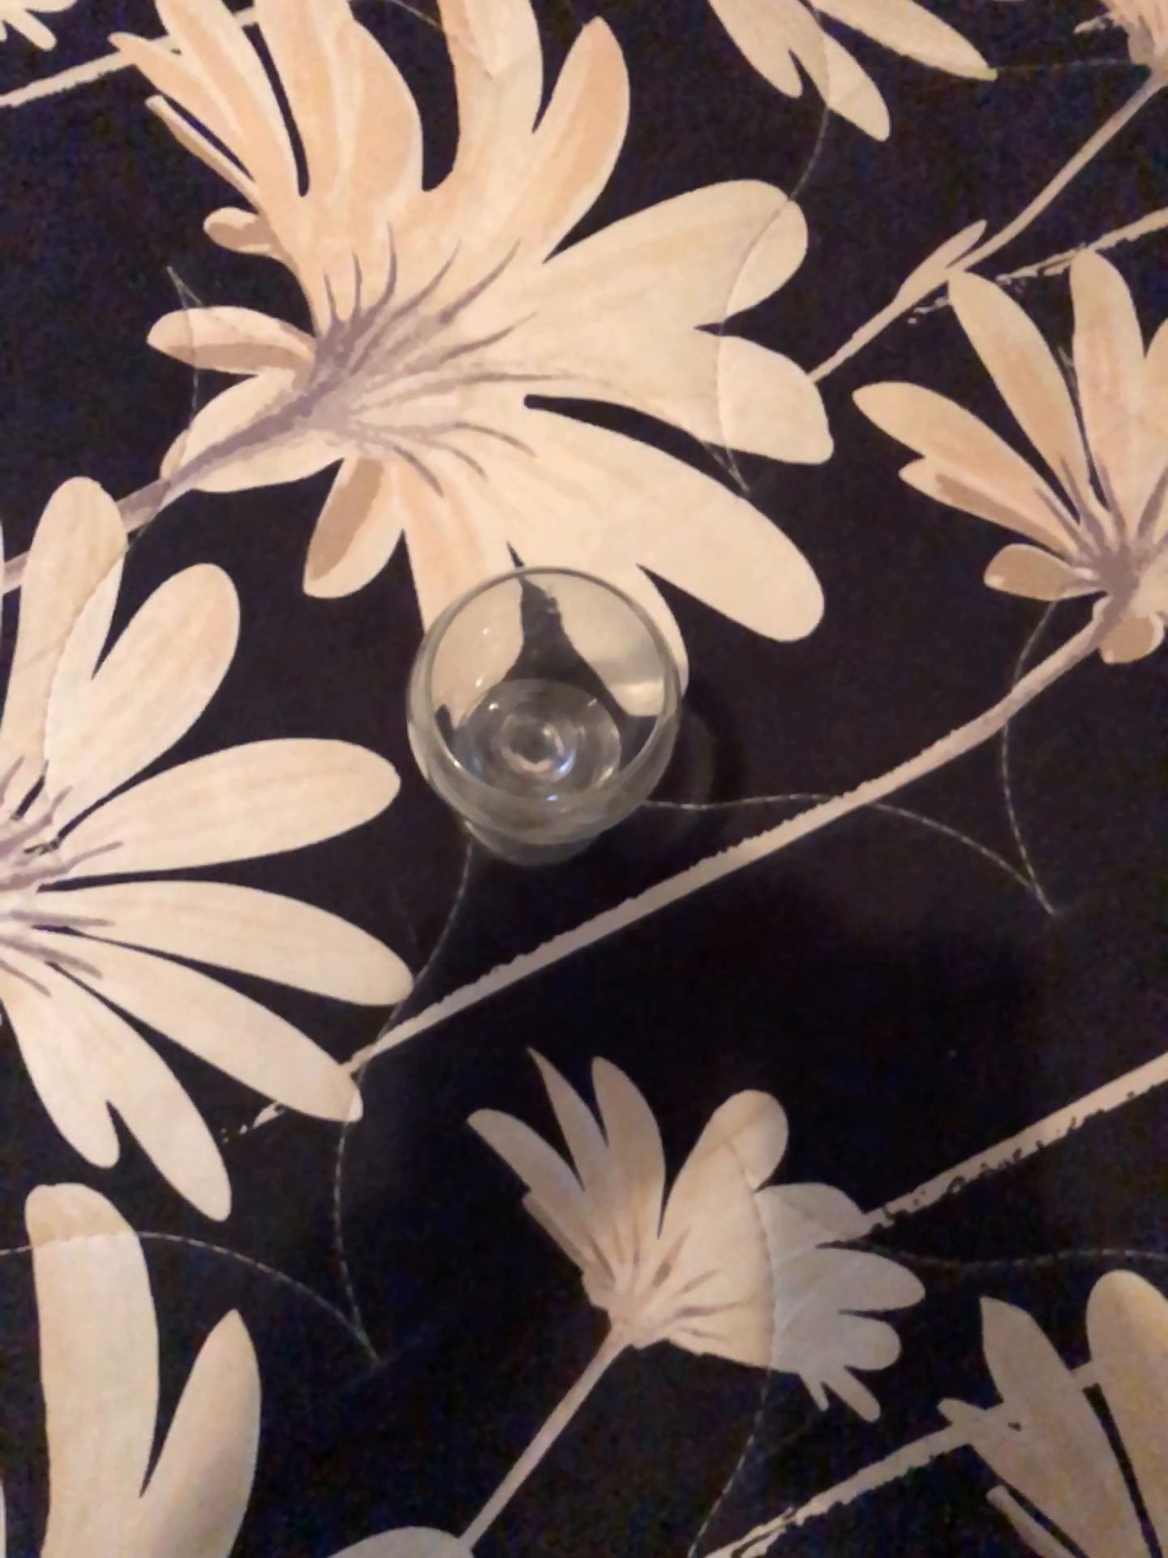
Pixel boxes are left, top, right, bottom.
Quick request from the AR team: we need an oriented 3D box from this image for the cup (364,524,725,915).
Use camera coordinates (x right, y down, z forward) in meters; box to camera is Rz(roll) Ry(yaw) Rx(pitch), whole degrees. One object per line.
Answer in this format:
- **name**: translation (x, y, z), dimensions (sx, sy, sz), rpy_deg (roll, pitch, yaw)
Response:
- **cup**: translation (-0.014, -0.009, 0.396), dimensions (0.082, 0.139, 0.084), rpy_deg (0, 81, -3)
